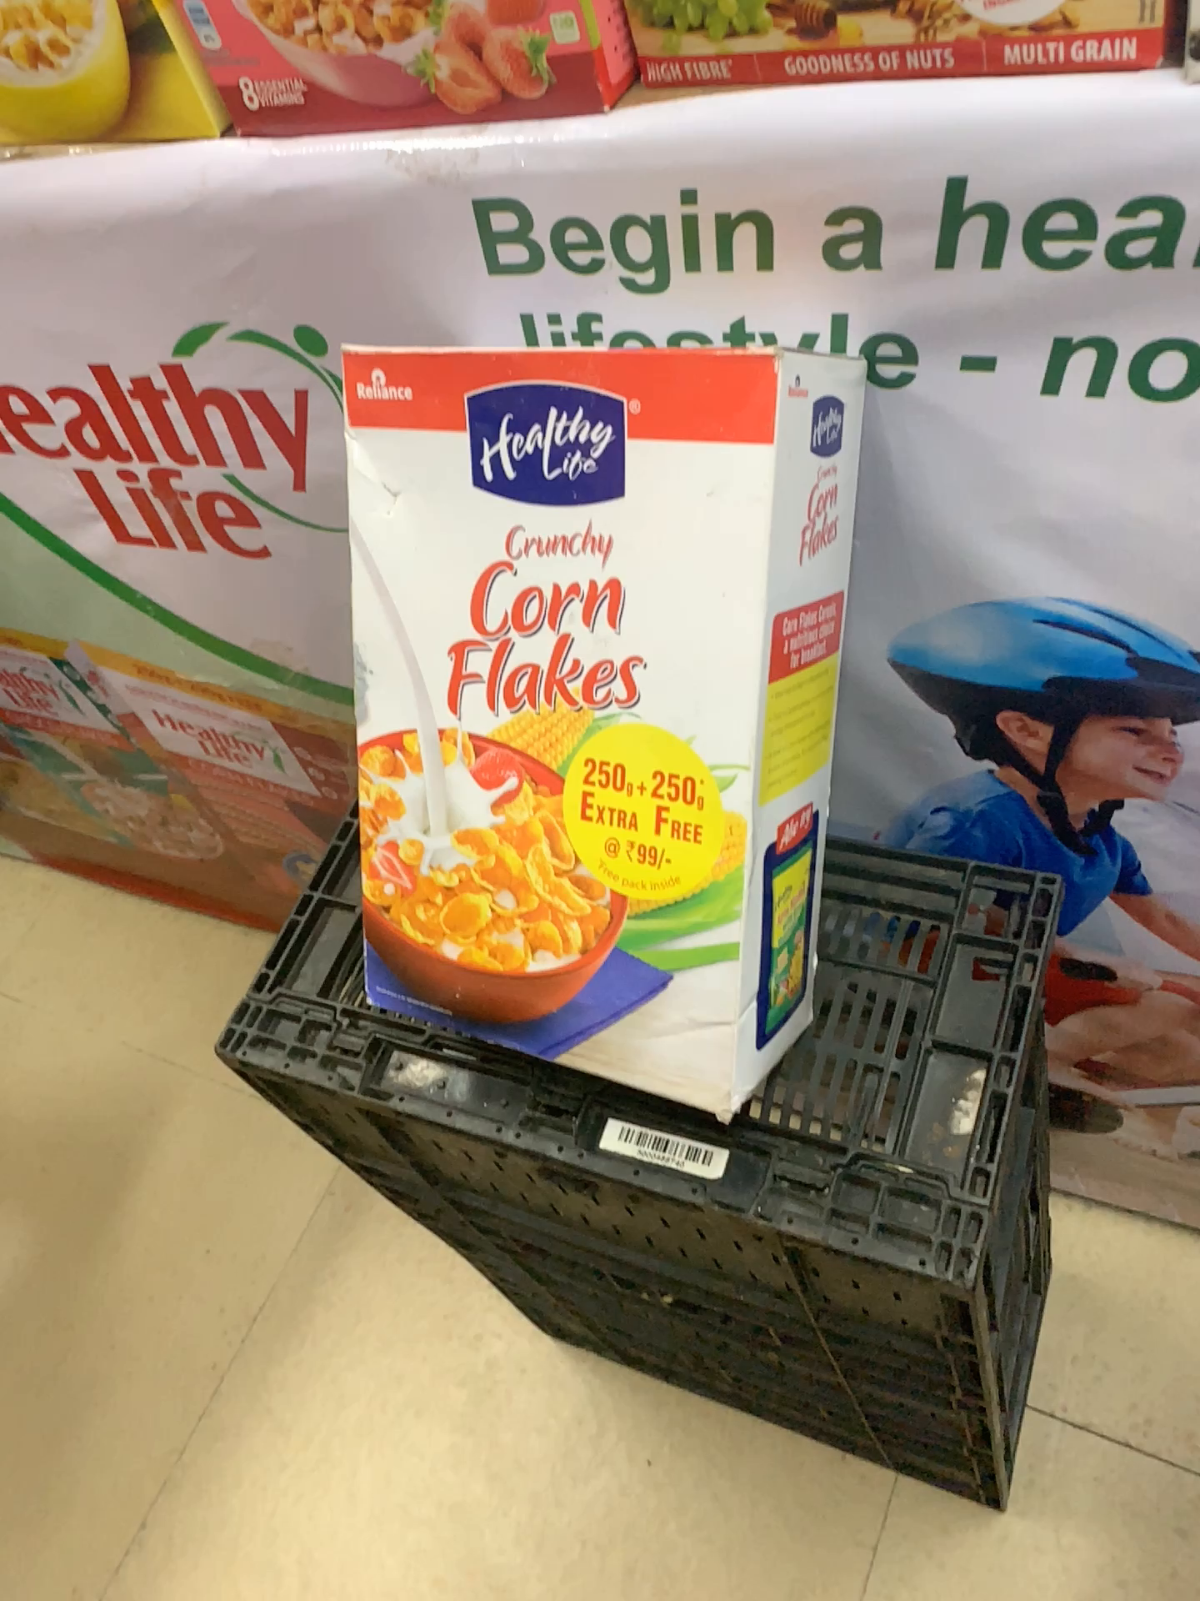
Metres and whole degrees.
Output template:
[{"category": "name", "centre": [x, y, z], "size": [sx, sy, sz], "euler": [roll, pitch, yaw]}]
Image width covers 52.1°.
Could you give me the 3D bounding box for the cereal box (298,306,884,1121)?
[{"category": "cereal box", "centre": [-0.010, -0.044, 0.503], "size": [0.201, 0.280, 0.100], "euler": [10, 17, 27]}]
